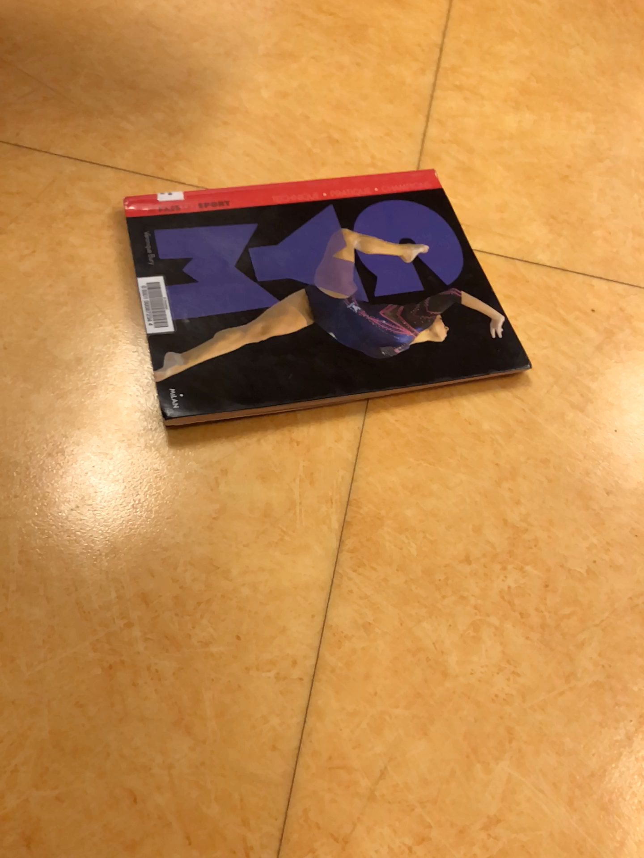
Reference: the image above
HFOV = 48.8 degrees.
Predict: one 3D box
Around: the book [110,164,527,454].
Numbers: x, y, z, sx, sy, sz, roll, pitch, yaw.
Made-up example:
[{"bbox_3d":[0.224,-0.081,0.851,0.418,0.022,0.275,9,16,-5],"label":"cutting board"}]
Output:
[{"bbox_3d":[-0.010,-0.094,0.479,0.234,0.030,0.194,-10,60,-13],"label":"book"}]
